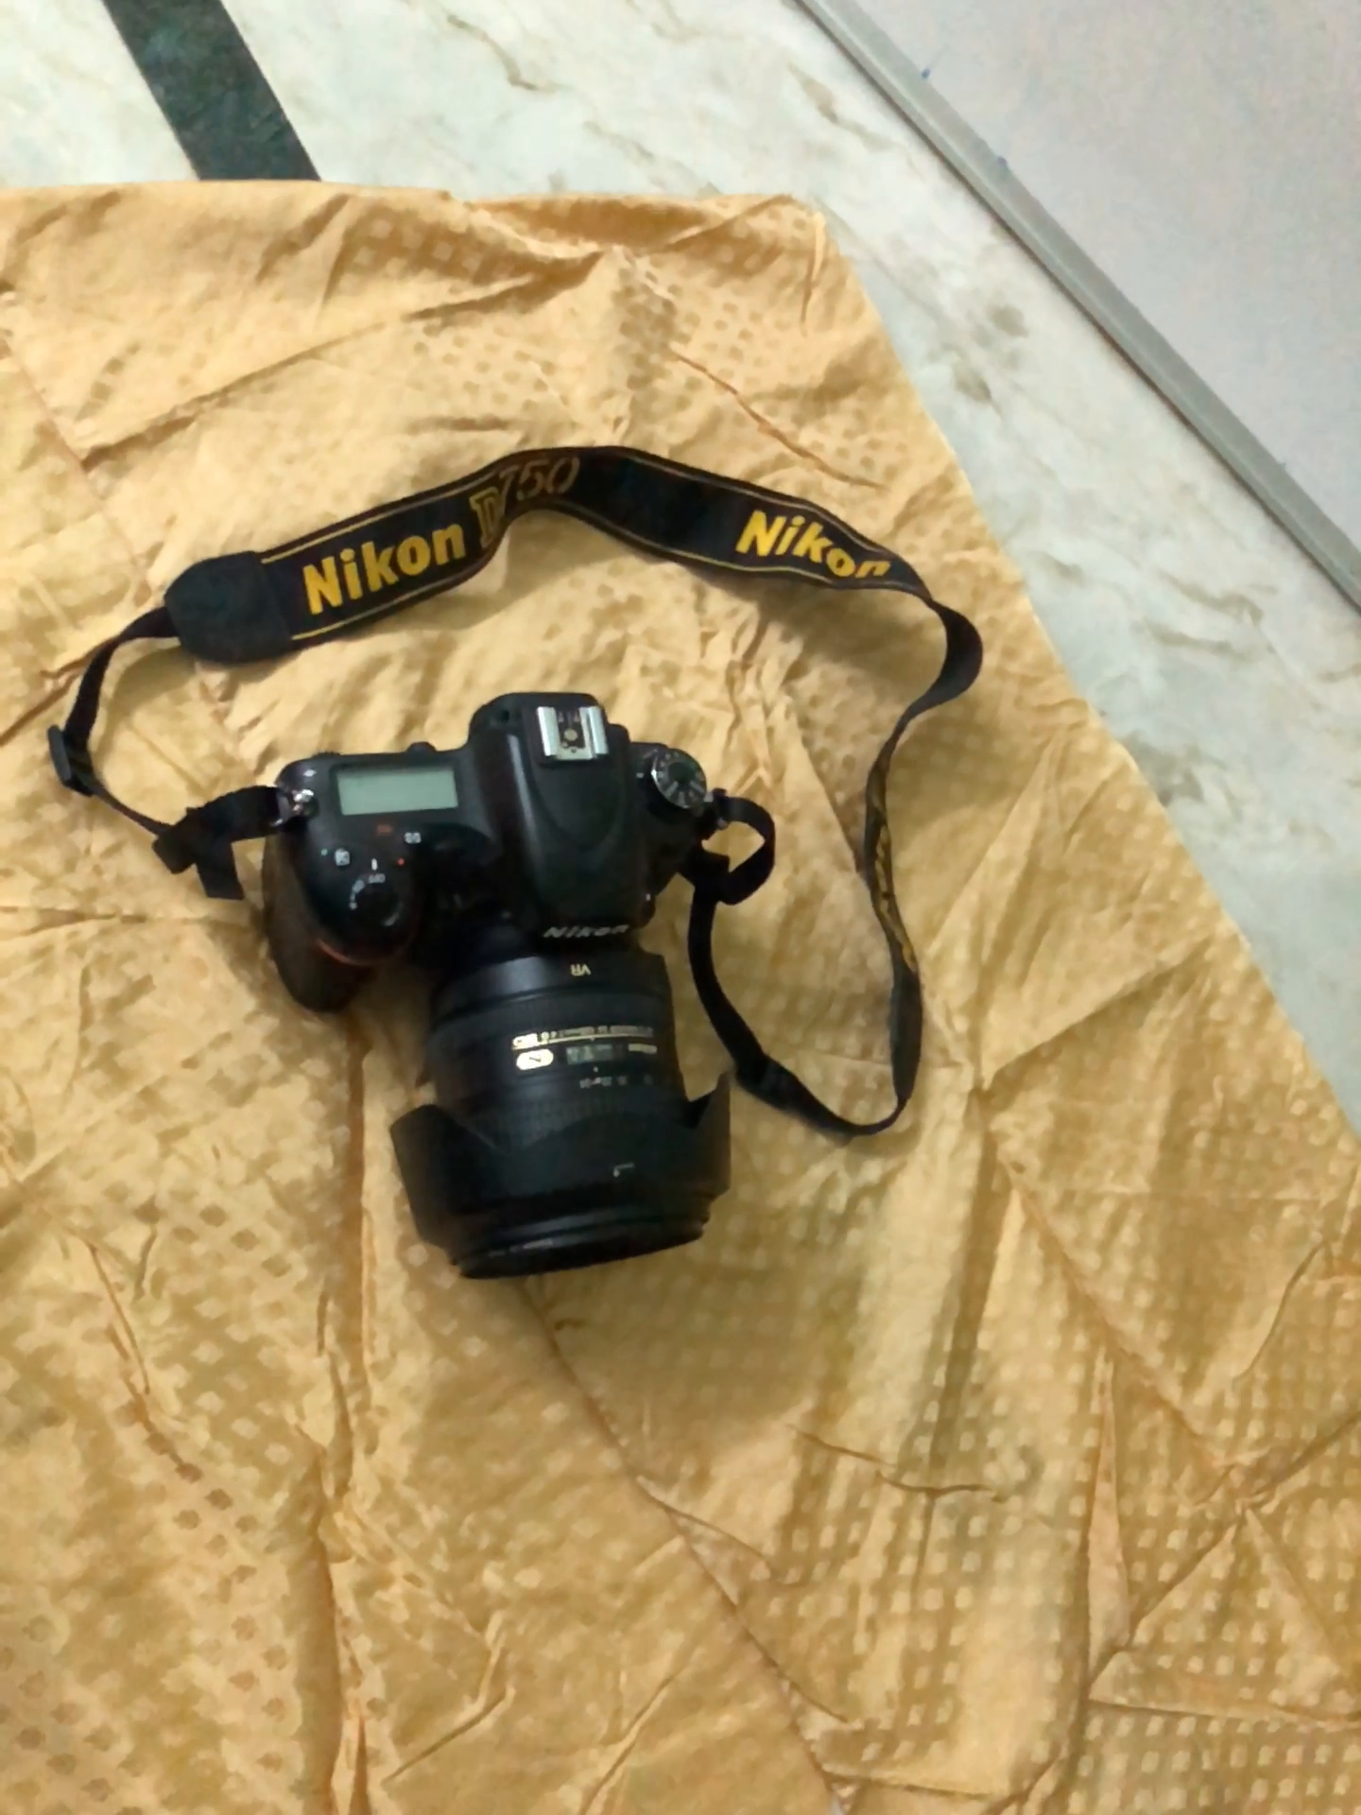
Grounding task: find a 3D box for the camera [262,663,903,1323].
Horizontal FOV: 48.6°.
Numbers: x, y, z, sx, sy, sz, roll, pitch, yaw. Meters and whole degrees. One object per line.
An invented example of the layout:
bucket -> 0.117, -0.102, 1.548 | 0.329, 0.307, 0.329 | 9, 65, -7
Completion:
camera -> -0.039, 0.027, 0.468 | 0.149, 0.110, 0.170 | -6, 77, -22
